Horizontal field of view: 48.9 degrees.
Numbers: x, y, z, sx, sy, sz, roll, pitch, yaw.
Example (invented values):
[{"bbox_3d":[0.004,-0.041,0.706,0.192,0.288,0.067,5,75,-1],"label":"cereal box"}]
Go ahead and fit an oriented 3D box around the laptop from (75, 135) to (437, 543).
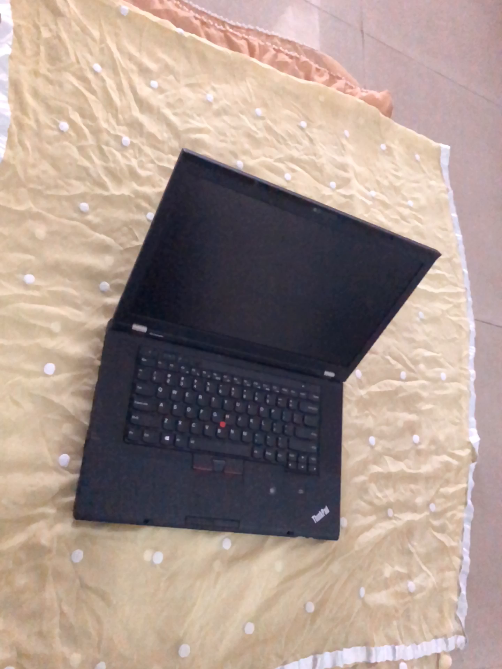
[{"bbox_3d":[0.024,0.041,0.683,0.364,0.191,0.381,15,71,-26],"label":"laptop"}]
